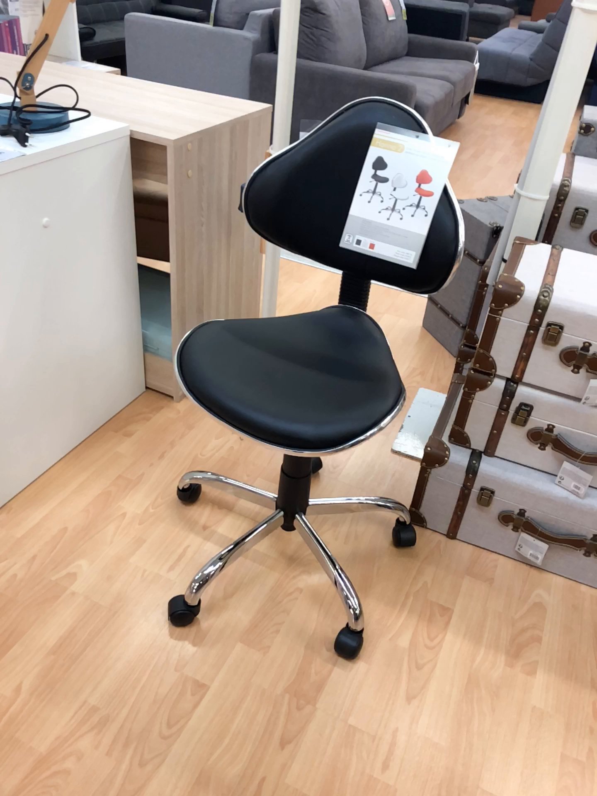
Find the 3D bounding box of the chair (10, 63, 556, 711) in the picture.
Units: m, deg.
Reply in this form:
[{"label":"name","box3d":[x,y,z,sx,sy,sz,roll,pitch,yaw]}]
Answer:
[{"label":"chair","box3d":[0.010,-0.051,1.182,0.599,0.854,0.615,16,36,14]}]
